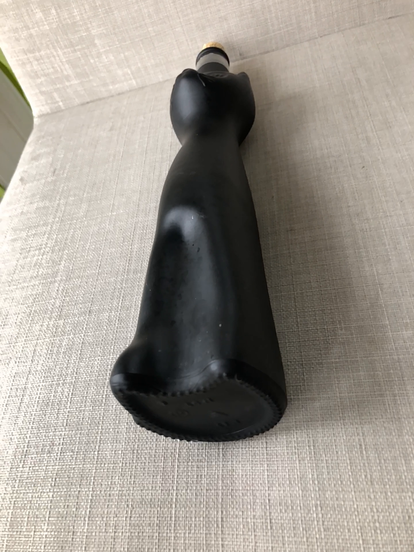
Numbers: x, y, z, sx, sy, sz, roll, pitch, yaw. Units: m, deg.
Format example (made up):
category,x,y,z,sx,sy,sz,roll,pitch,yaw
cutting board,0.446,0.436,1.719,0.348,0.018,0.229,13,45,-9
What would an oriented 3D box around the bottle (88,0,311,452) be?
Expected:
category,x,y,z,sx,sy,sz,roll,pitch,yaw
bottle,0.002,-0.062,0.295,0.077,0.079,0.312,-10,52,13
